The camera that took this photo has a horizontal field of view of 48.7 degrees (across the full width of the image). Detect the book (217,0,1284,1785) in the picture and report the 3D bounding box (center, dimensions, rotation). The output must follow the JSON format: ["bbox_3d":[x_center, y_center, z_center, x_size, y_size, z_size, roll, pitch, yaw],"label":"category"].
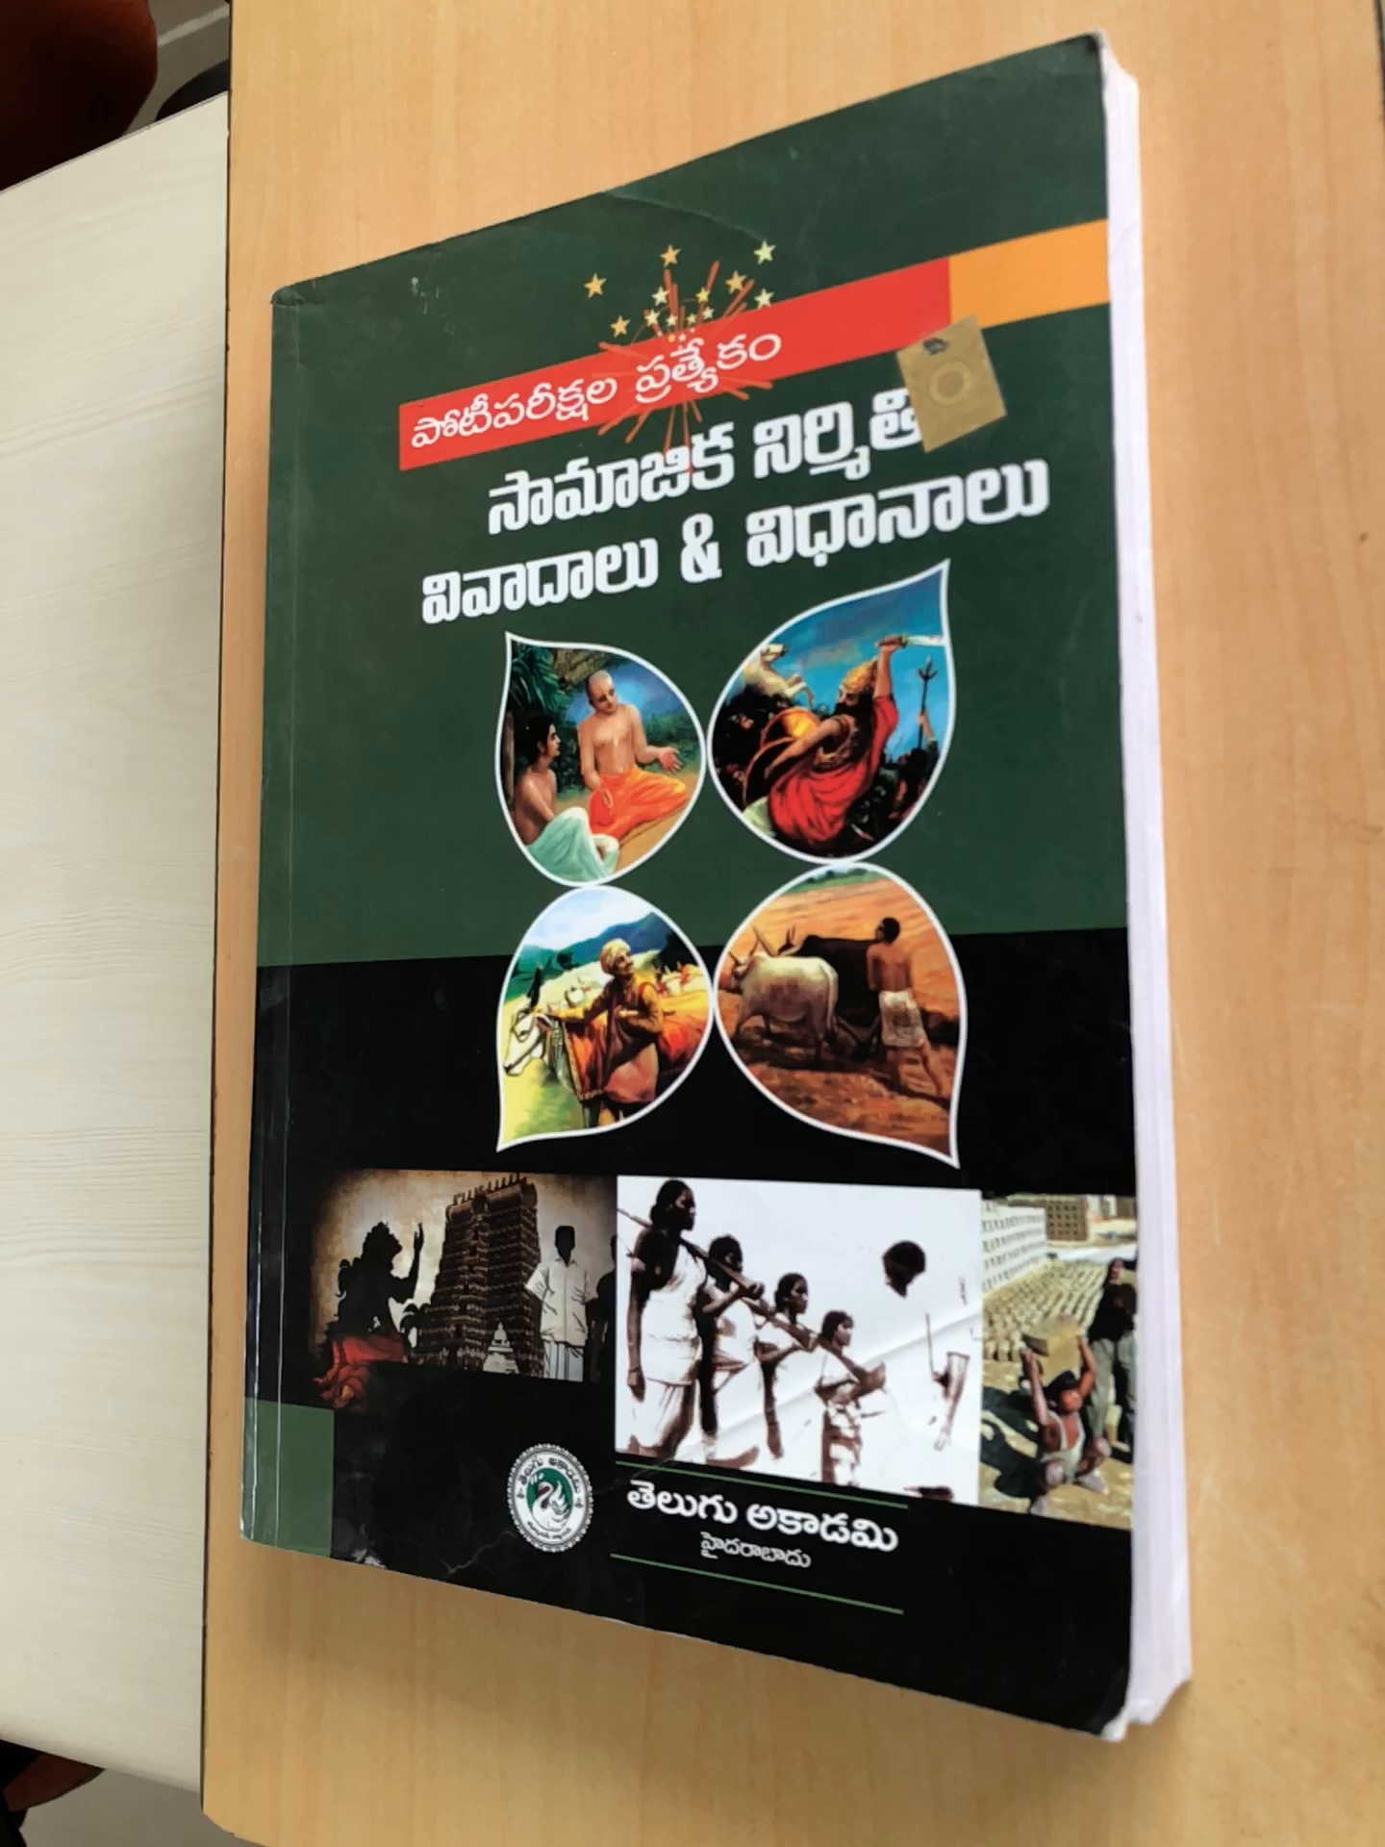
[{"bbox_3d":[0.002,-0.009,0.291,0.190,0.050,0.270,-3,83,28],"label":"book"}]
